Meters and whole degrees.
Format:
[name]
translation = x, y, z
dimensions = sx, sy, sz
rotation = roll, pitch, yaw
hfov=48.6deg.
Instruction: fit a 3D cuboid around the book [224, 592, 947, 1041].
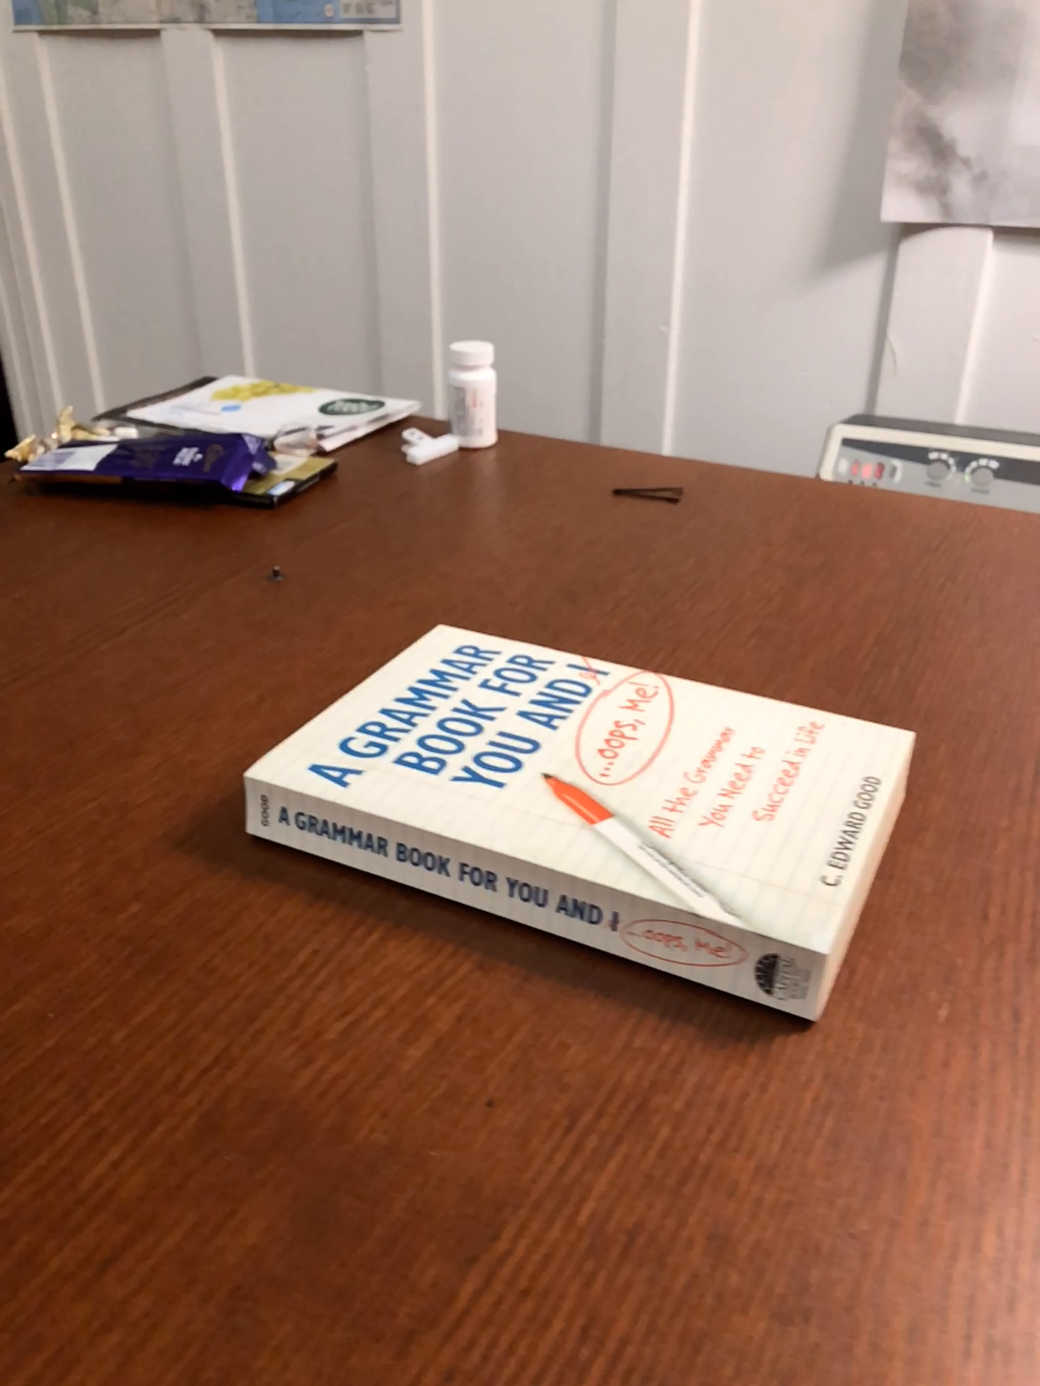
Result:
[book]
translation = 0.033, 0.030, 0.468
dimensions = 0.240, 0.040, 0.171
rotation = 14, 31, 22
